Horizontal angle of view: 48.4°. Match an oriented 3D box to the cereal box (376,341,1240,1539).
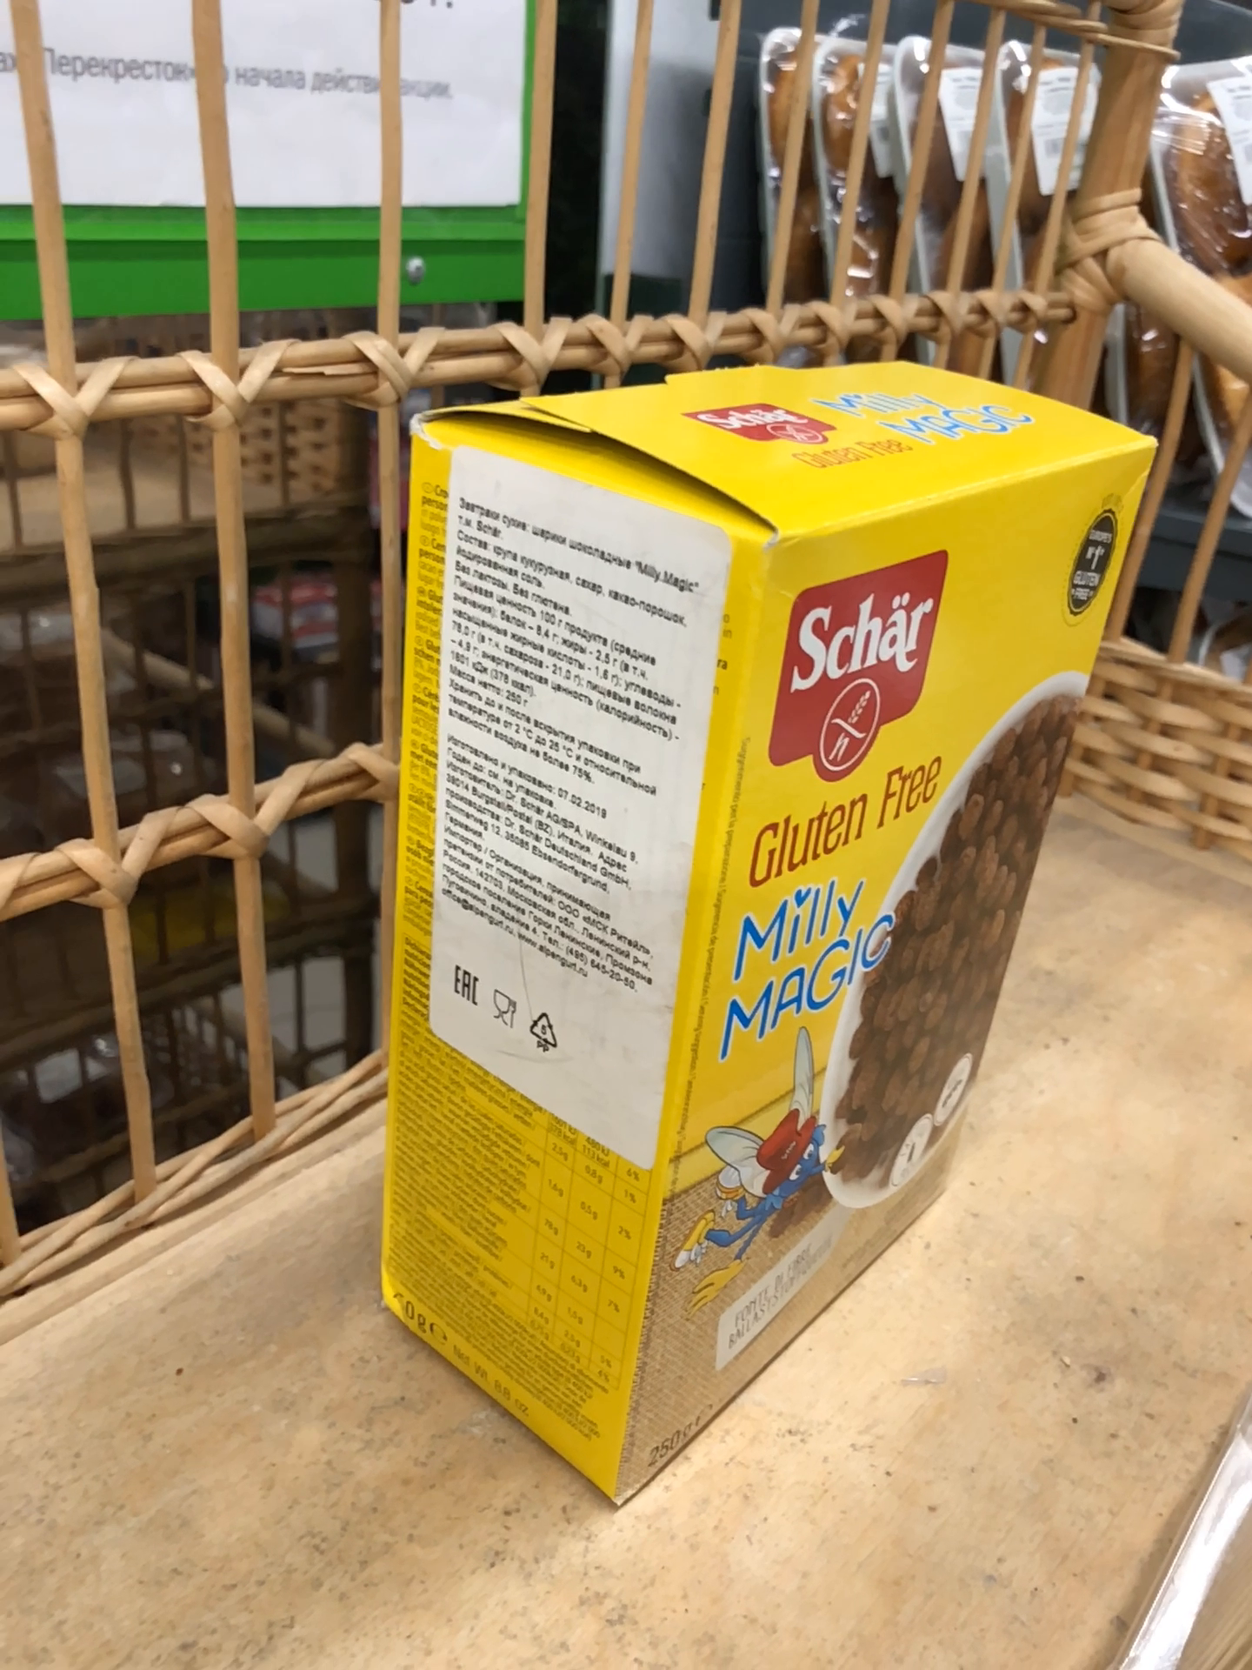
[{"bbox_3d":[0.036,0.011,0.309,0.080,0.209,0.161,27,34,33],"label":"cereal box"}]
